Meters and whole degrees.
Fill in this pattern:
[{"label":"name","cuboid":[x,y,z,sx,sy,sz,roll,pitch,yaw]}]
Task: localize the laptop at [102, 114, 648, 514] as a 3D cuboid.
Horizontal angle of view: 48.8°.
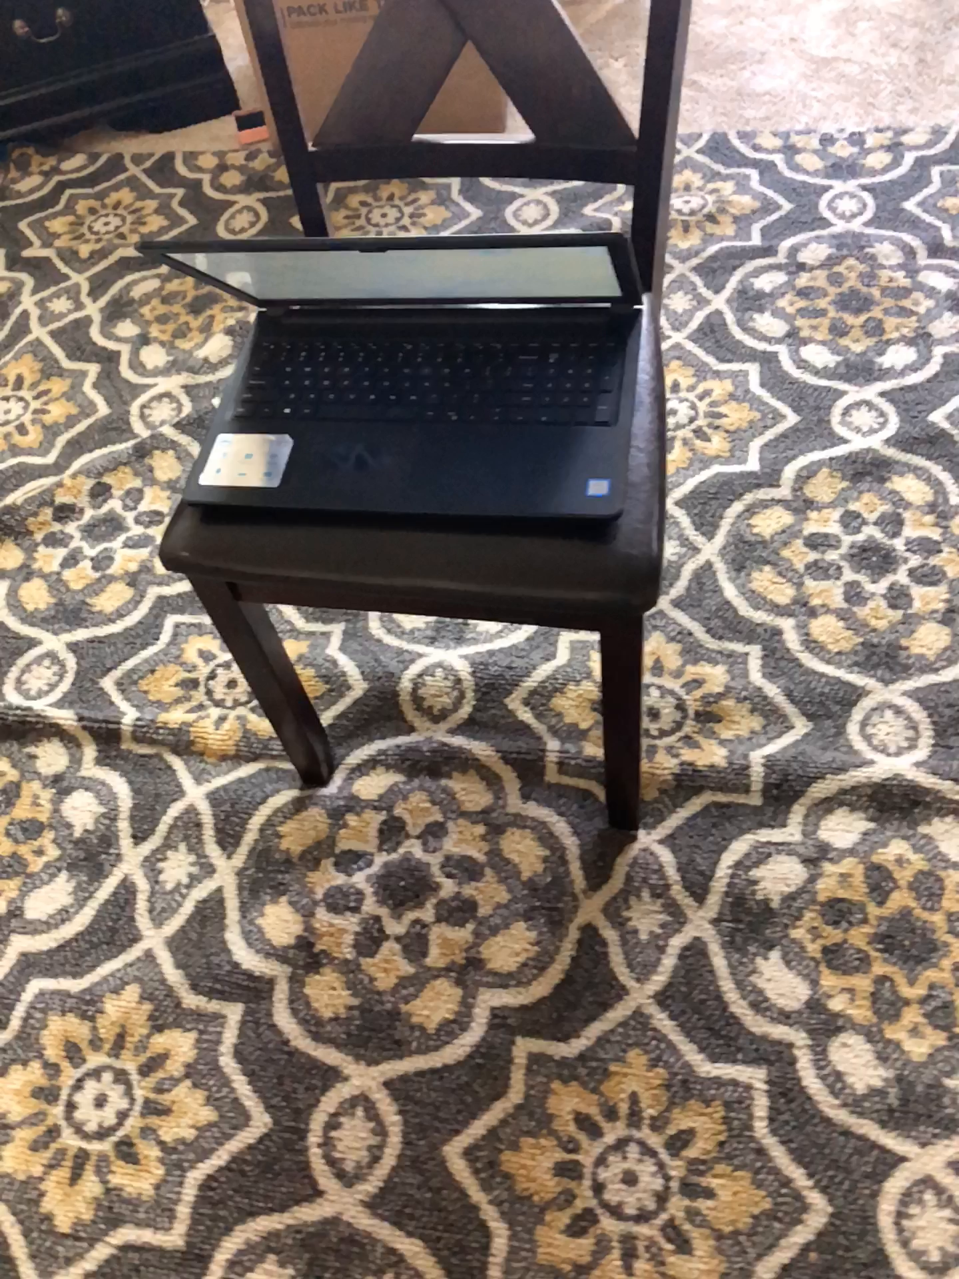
[{"label":"laptop","cuboid":[-0.057,-0.261,0.849,0.366,0.185,0.245,3,55,9]}]
